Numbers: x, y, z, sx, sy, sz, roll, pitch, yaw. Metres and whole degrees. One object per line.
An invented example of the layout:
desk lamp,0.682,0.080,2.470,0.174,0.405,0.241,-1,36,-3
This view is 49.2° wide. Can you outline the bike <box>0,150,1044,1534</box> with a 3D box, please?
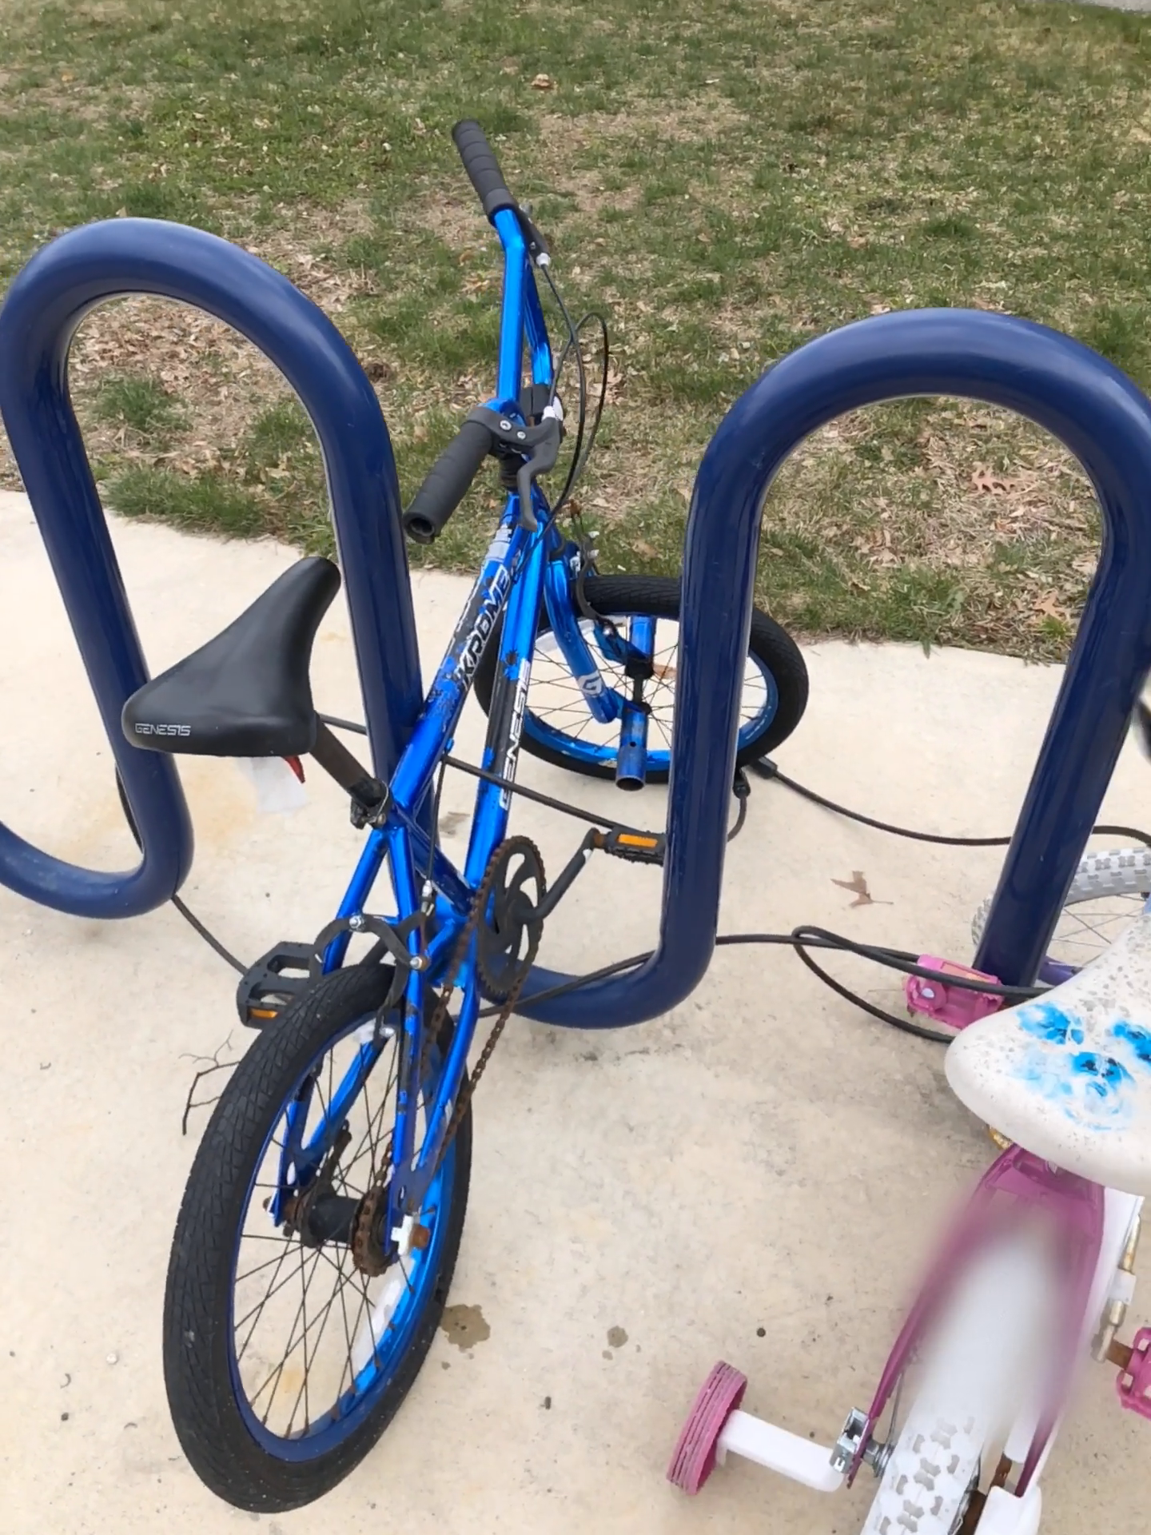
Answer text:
bike,-0.112,0.028,1.161,0.621,0.840,1.035,18,43,20
